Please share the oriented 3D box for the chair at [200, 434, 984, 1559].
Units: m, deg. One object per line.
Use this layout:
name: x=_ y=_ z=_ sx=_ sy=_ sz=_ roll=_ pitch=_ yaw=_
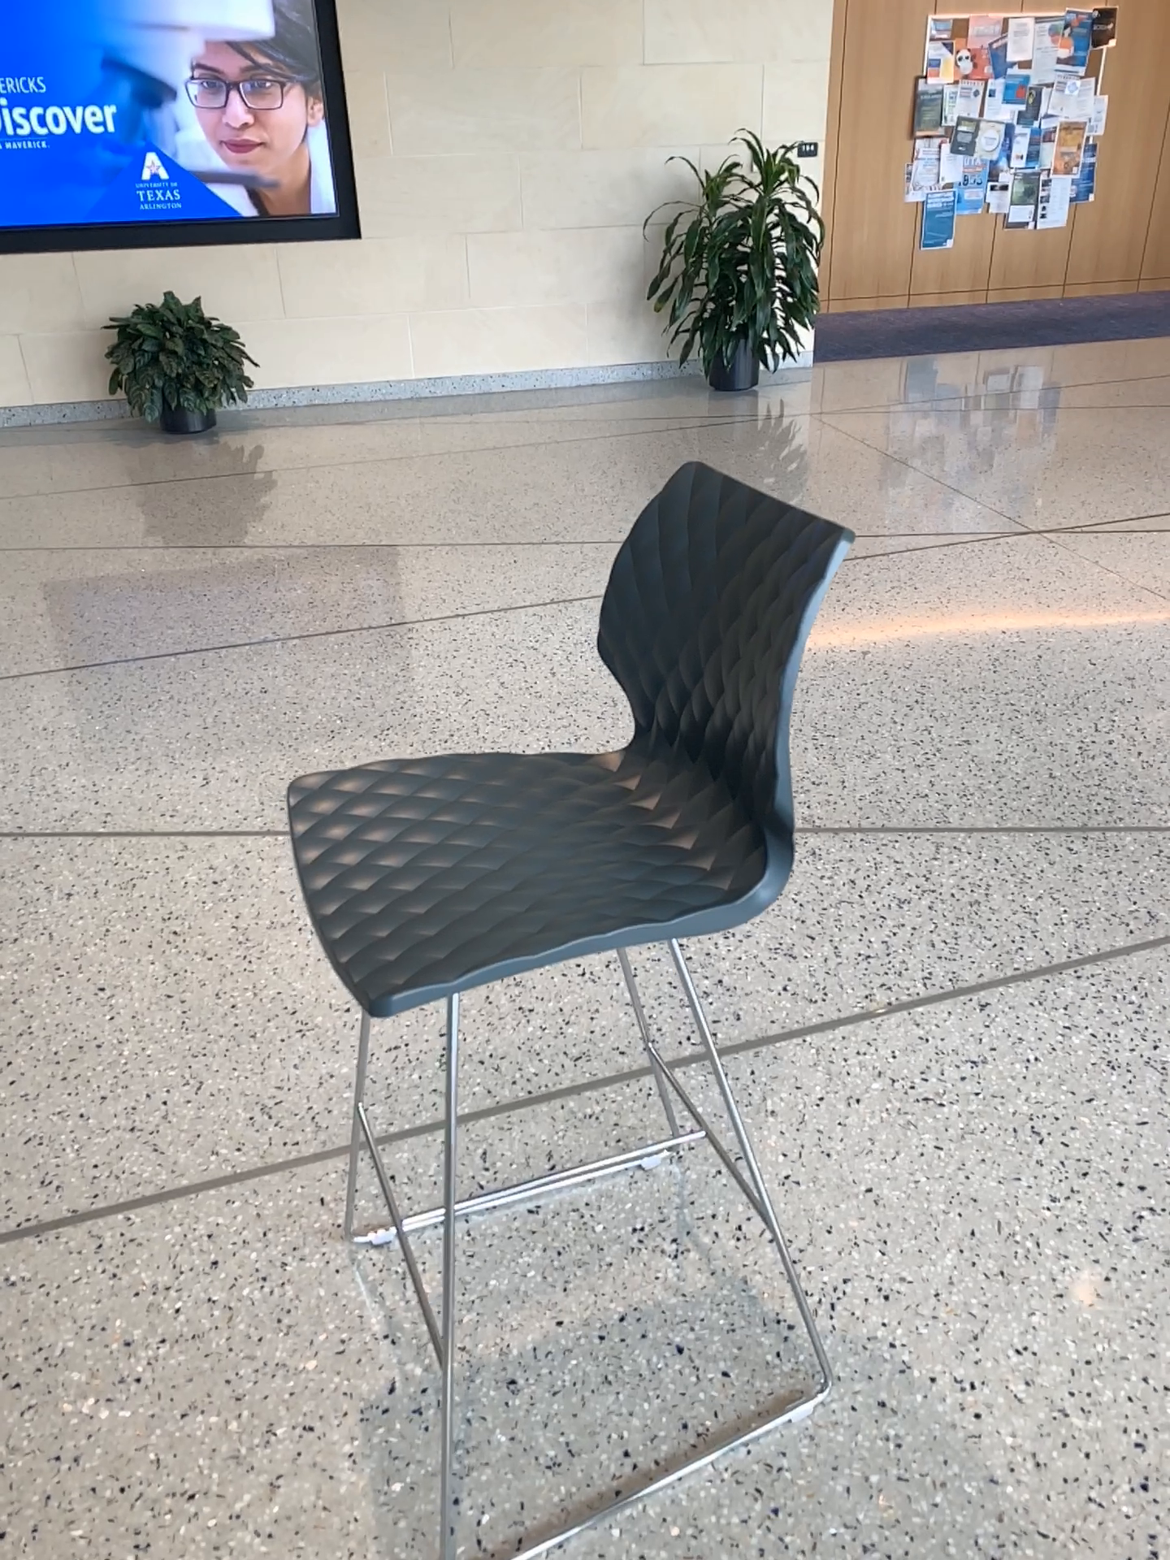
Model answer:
chair: x=-0.028 y=0.239 z=1.288 sx=0.547 sy=1.049 sz=0.535 roll=-10 pitch=29 yaw=-16
